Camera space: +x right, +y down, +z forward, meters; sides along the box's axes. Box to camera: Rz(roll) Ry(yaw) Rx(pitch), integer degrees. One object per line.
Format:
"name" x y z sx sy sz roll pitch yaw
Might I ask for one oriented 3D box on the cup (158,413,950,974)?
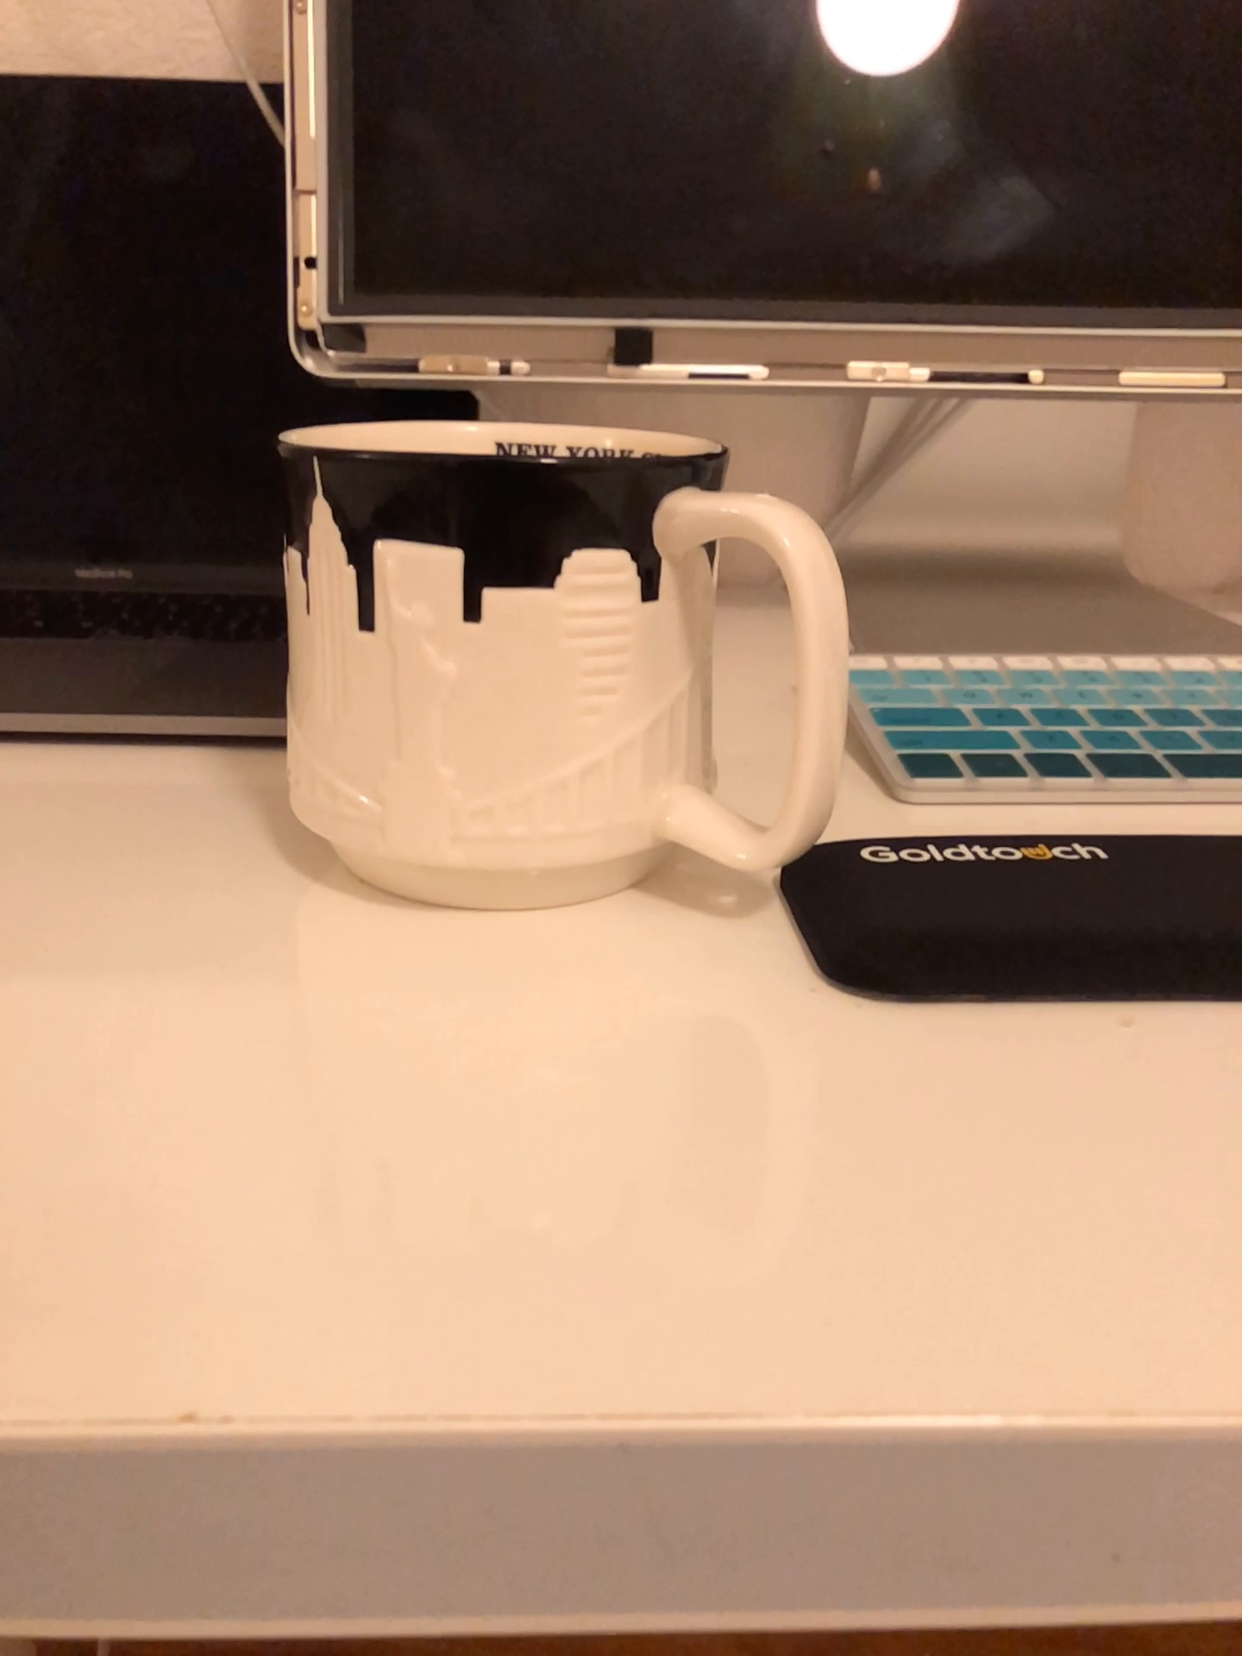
"cup" -0.011 -0.044 0.321 0.140 0.090 0.110 11 22 24
